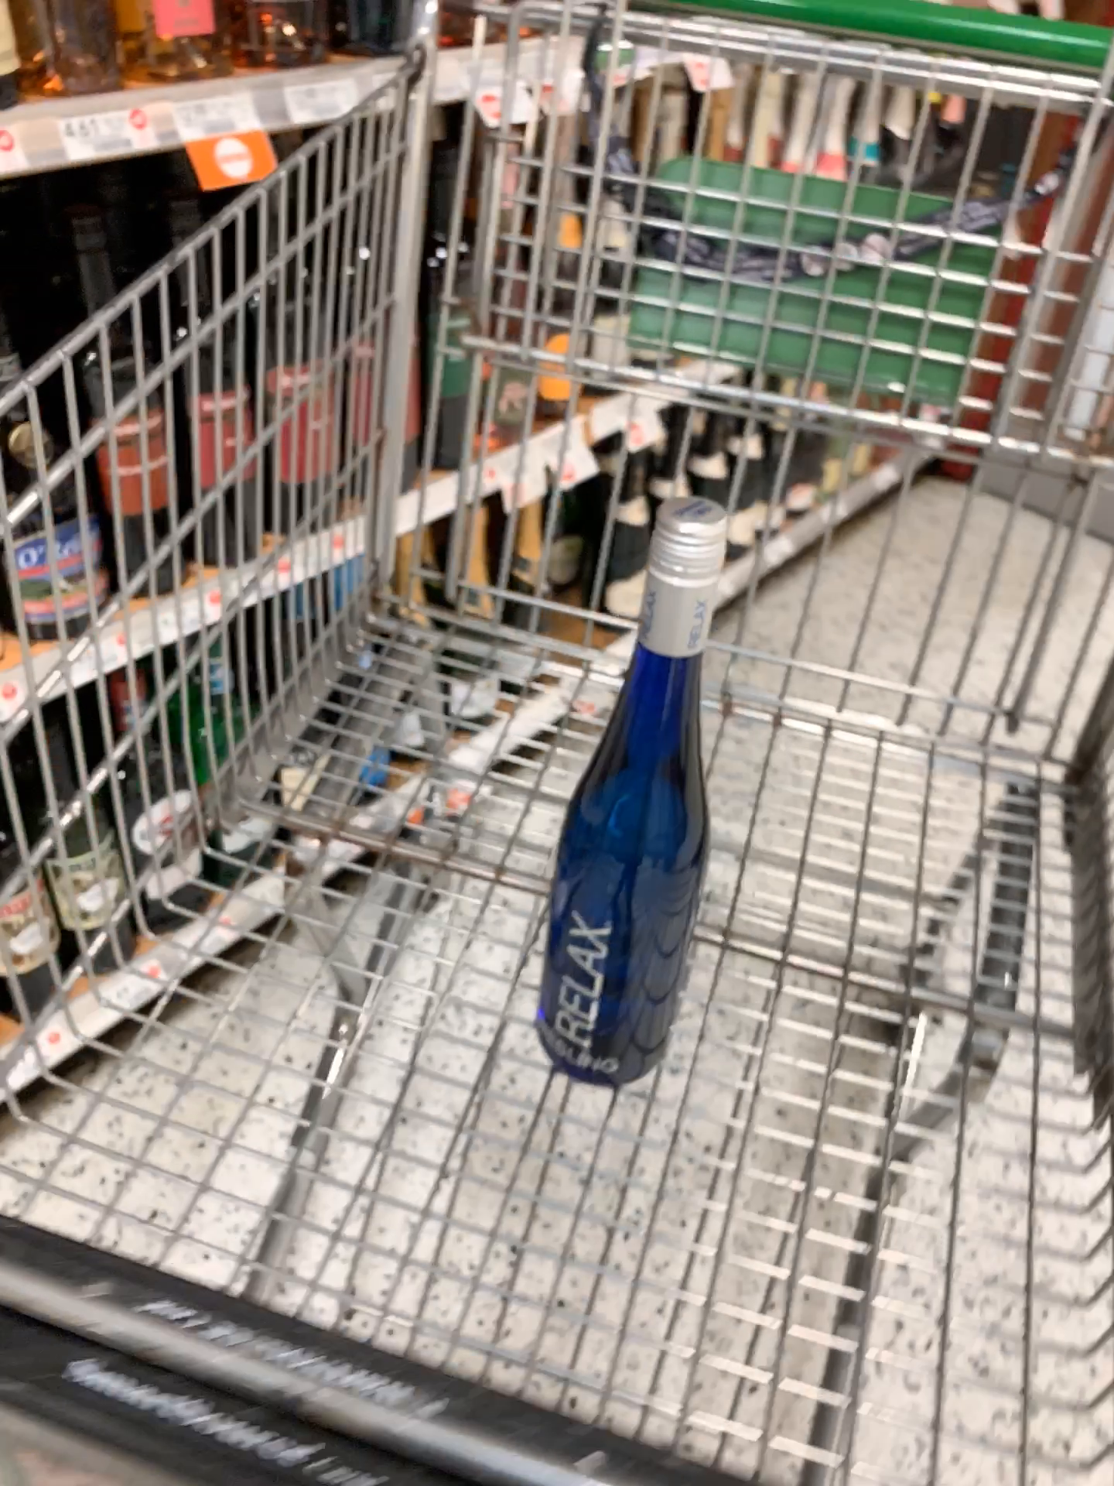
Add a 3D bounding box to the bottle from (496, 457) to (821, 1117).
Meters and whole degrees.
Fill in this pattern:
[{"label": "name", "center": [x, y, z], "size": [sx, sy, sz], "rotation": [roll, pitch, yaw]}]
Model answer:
[{"label": "bottle", "center": [0.038, 0.036, 0.543], "size": [0.090, 0.307, 0.091], "rotation": [4, 39, -3]}]
